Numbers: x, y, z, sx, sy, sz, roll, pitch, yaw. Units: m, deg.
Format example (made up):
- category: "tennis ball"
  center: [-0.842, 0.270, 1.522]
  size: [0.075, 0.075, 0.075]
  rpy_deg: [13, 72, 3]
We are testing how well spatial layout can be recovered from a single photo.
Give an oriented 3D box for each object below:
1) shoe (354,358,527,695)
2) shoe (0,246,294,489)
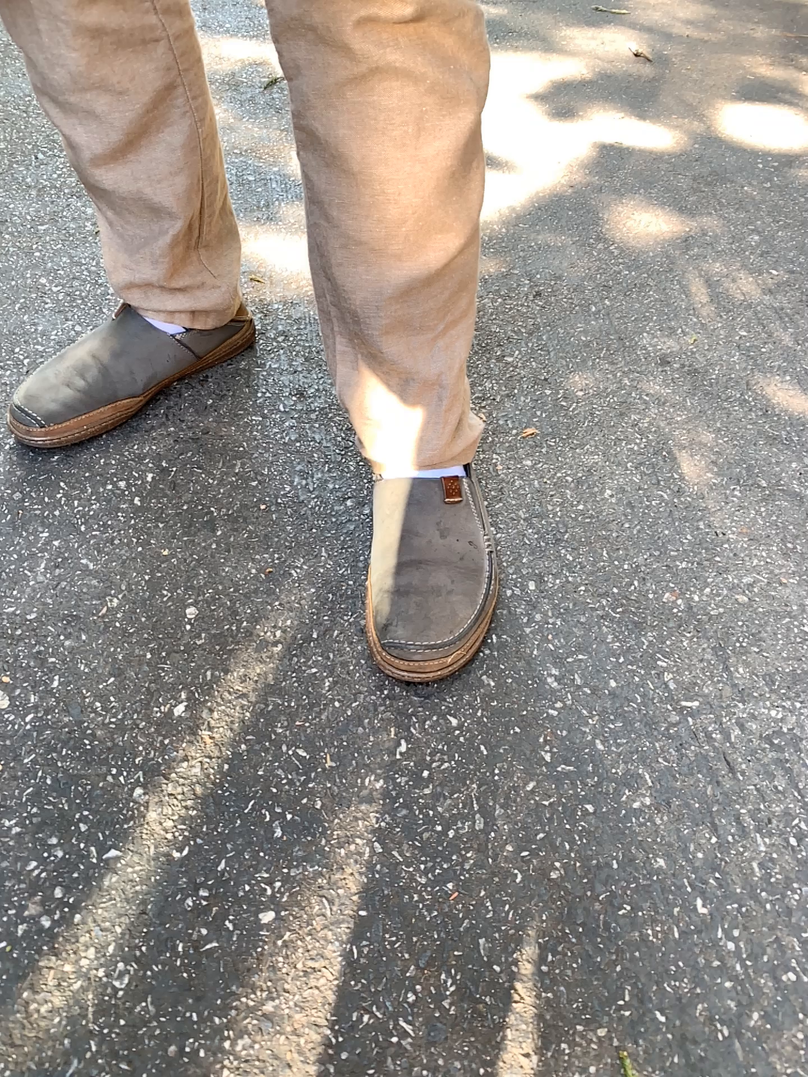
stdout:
- category: "shoe"
  center: [0.019, -0.026, 0.719]
  size: [0.120, 0.080, 0.322]
  rpy_deg: [-1, 49, -3]
- category: "shoe"
  center: [-0.268, -0.187, 0.839]
  size: [0.120, 0.060, 0.321]
  rpy_deg: [31, 54, 23]
